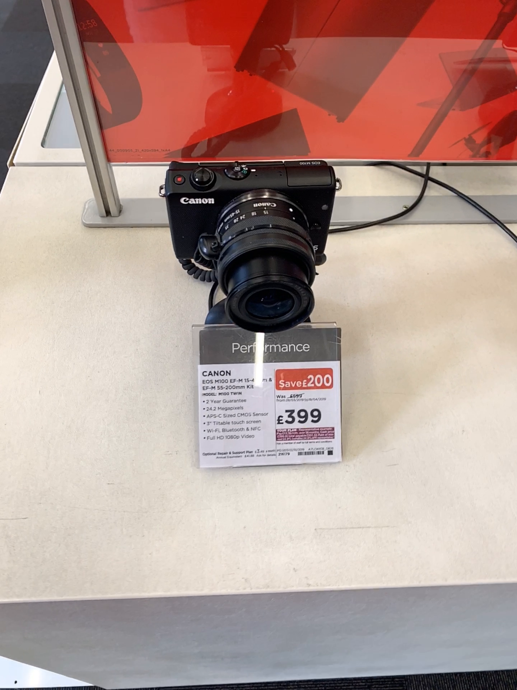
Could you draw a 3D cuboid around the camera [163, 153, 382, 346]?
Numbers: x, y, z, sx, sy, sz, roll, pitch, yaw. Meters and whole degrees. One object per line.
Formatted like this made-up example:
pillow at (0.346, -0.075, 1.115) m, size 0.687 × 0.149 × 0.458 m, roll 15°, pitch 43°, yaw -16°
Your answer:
camera at (0.003, -0.063, 0.346) m, size 0.120 × 0.069 × 0.101 m, roll -3°, pitch 54°, yaw -4°
